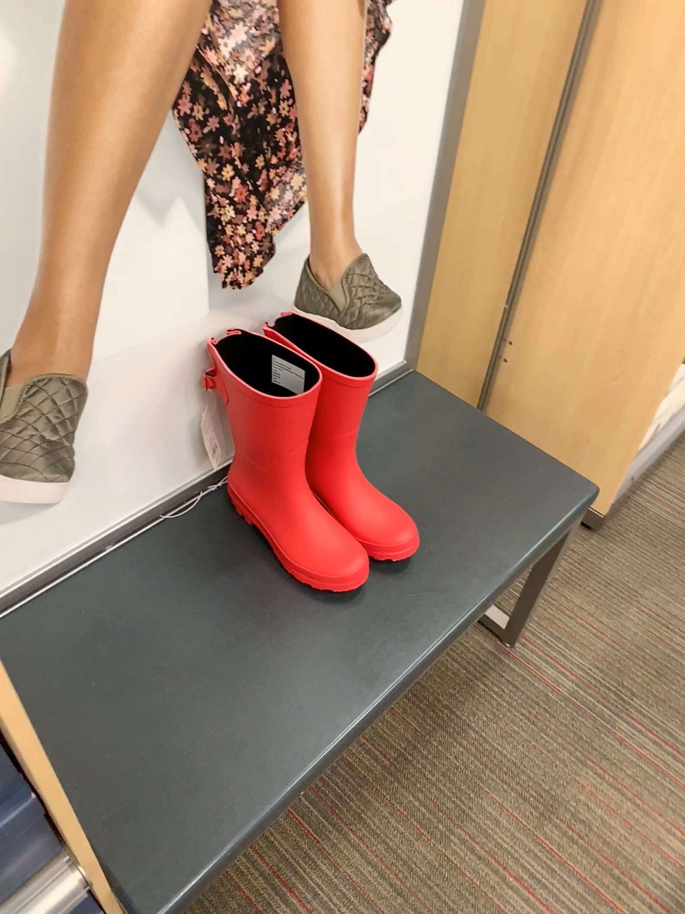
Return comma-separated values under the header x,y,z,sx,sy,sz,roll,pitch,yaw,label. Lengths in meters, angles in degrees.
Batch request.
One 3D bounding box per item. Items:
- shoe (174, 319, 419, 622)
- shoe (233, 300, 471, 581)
x,y,z,sx,sy,sz,roll,pitch,yaw,label
-0.066,0.015,0.845,0.270,0.249,0.106,34,50,26,shoe
-0.003,-0.021,0.899,0.270,0.249,0.106,32,49,24,shoe
